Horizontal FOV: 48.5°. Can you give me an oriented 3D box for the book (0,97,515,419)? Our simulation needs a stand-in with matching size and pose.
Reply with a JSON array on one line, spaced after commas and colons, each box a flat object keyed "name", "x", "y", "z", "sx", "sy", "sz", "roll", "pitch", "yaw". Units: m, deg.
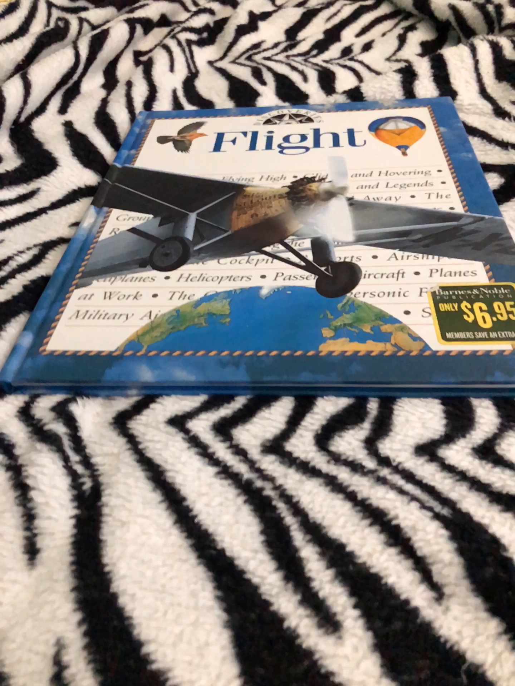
[{"name": "book", "x": 0.010, "y": -0.081, "z": 0.353, "sx": 0.258, "sy": 0.020, "sz": 0.302, "roll": 1, "pitch": 44, "yaw": 5}]
